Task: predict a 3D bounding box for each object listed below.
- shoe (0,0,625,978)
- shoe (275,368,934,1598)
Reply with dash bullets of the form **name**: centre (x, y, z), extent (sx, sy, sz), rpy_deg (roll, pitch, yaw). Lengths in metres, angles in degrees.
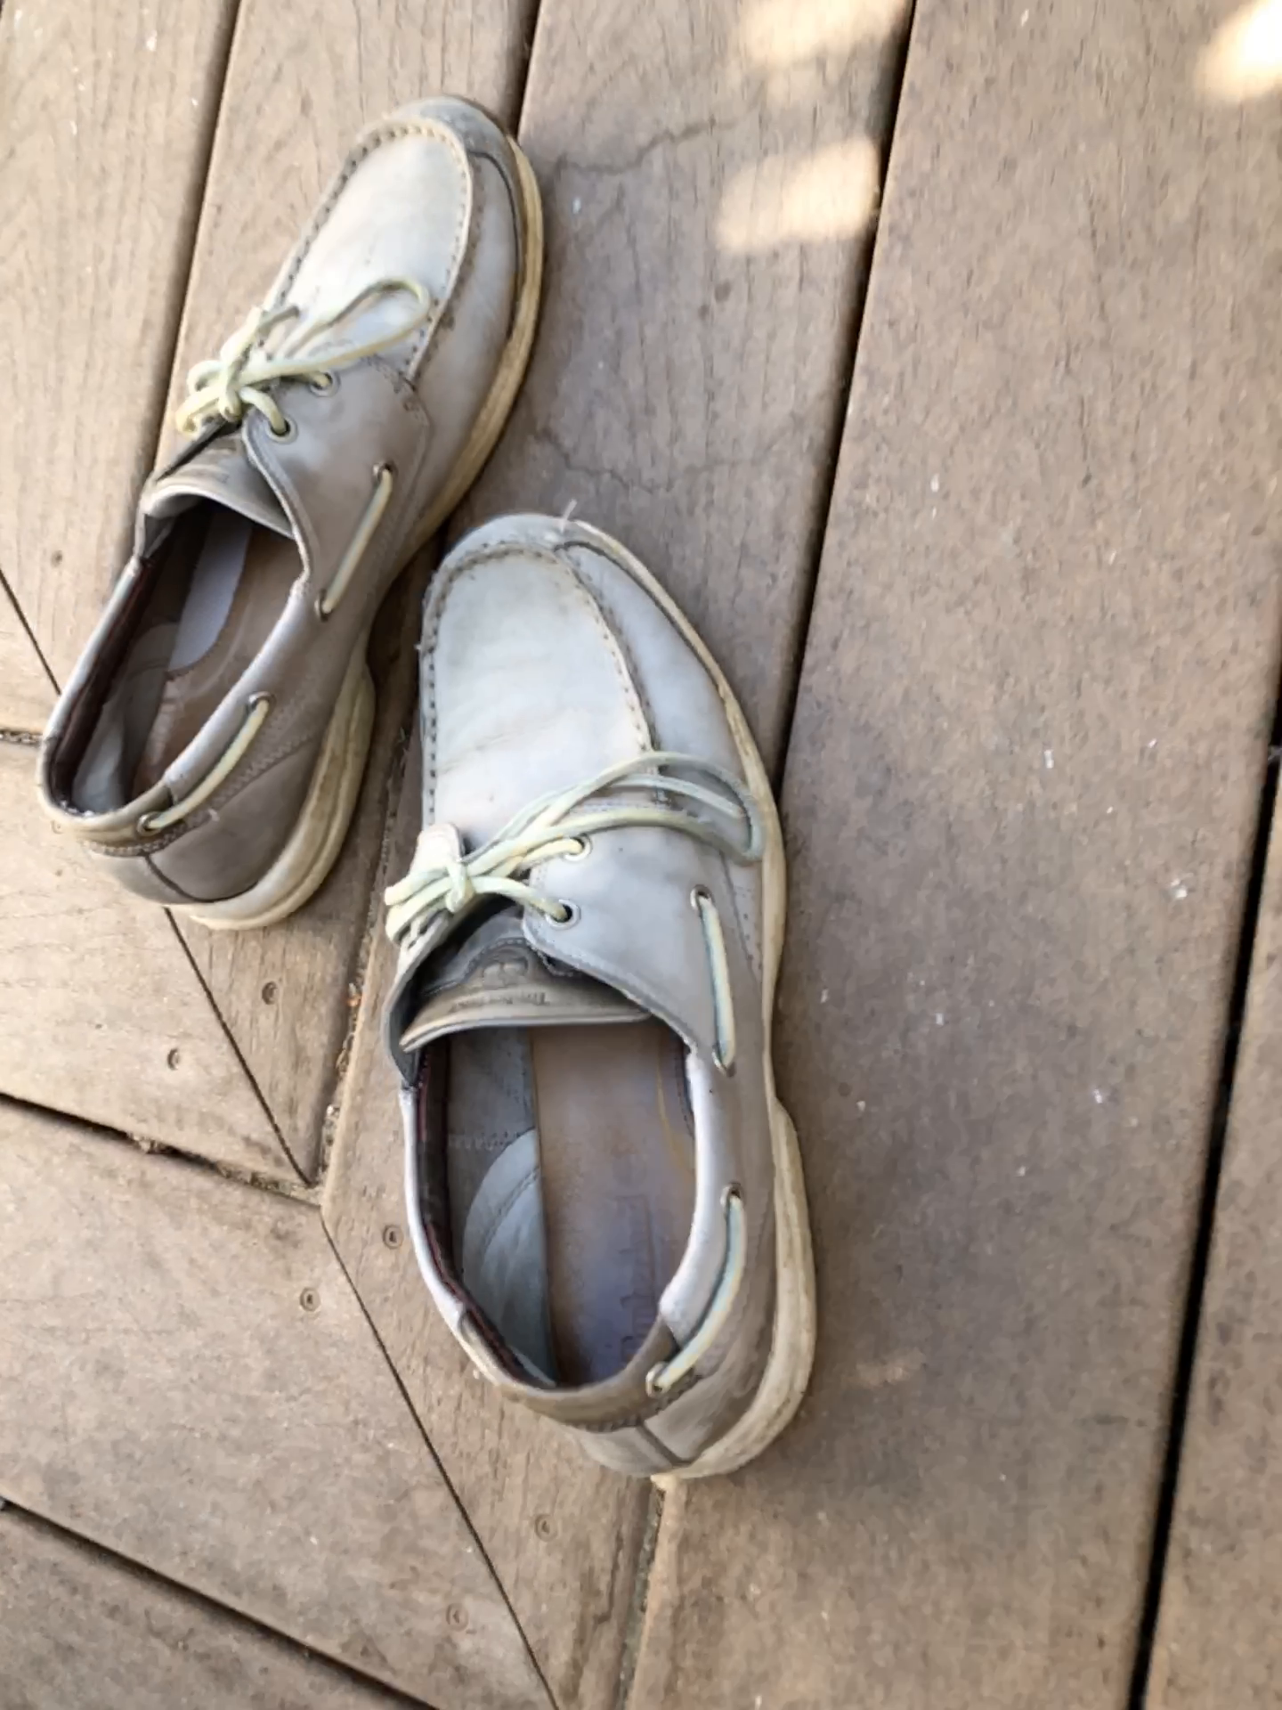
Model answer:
- **shoe**: centre (-0.122, -0.127, 0.493), extent (0.117, 0.099, 0.314), rpy_deg (16, 89, 25)
- **shoe**: centre (-0.013, 0.037, 0.423), extent (0.120, 0.109, 0.310), rpy_deg (-14, 76, 21)
